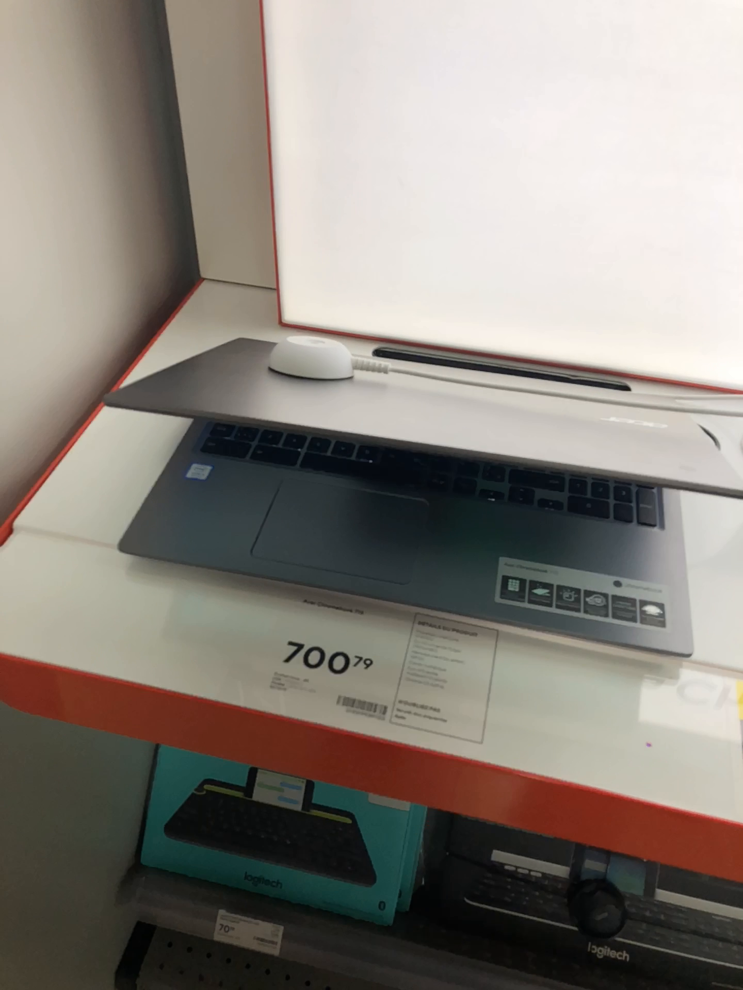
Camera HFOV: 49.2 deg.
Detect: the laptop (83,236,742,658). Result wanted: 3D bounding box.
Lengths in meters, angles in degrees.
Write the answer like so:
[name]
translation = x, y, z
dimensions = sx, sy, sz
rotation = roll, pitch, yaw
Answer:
[laptop]
translation = 0.037, -0.051, 0.545
dimensions = 0.356, 0.105, 0.237
rotation = 10, 43, 7
